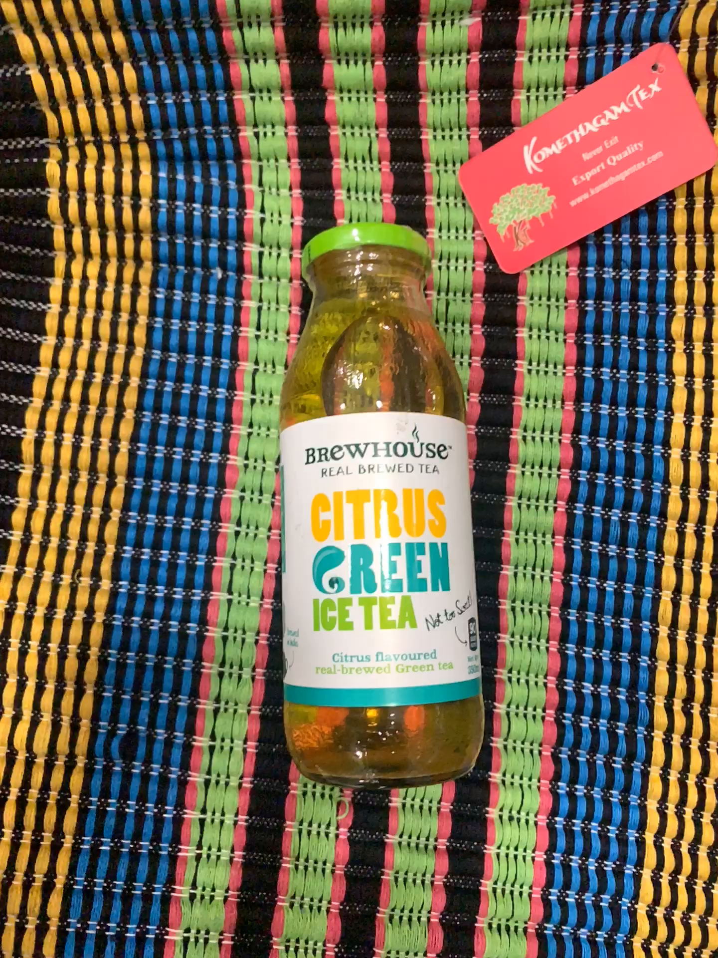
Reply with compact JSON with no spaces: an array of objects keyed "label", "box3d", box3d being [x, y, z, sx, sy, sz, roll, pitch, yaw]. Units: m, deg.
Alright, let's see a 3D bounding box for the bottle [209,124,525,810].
[{"label":"bottle","box3d":[-0.005,-0.005,0.241,0.080,0.070,0.190,-1,78,-7]}]
